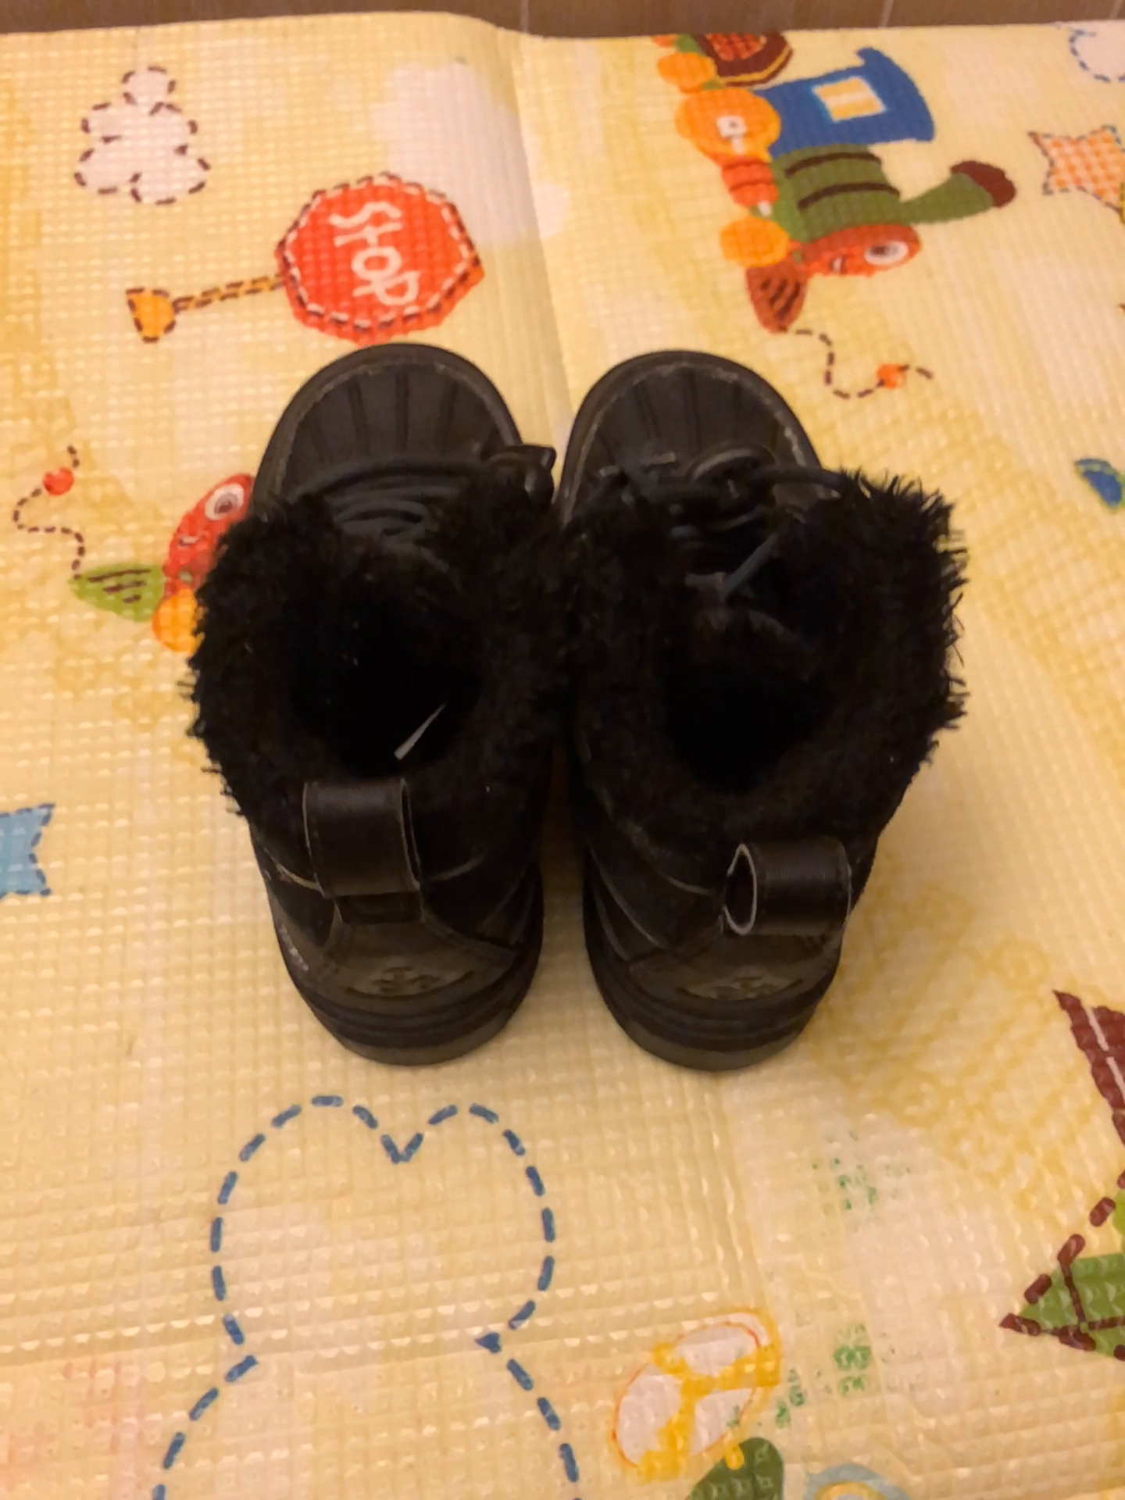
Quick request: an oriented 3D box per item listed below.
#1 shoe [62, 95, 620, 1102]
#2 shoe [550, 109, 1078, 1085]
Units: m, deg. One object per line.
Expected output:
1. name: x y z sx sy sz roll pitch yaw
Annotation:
1. shoe: -0.043 -0.036 0.304 0.090 0.120 0.211 -2 63 -3
2. shoe: 0.044 -0.039 0.317 0.090 0.110 0.221 1 63 -1
